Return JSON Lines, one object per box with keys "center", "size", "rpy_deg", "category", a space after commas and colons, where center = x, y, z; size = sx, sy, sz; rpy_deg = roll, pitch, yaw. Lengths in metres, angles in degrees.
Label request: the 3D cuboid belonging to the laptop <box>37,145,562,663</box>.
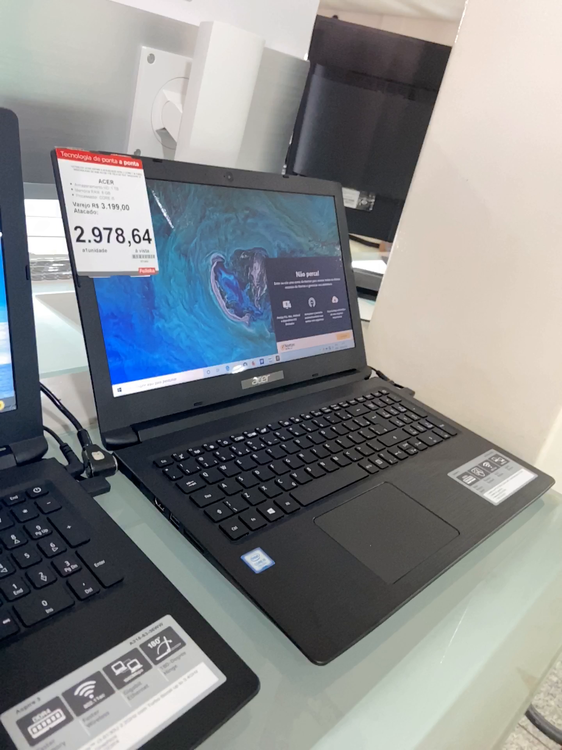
{"center": [0.046, -0.038, 0.530], "size": [0.370, 0.205, 0.375], "rpy_deg": [-12, 35, -44], "category": "laptop"}
